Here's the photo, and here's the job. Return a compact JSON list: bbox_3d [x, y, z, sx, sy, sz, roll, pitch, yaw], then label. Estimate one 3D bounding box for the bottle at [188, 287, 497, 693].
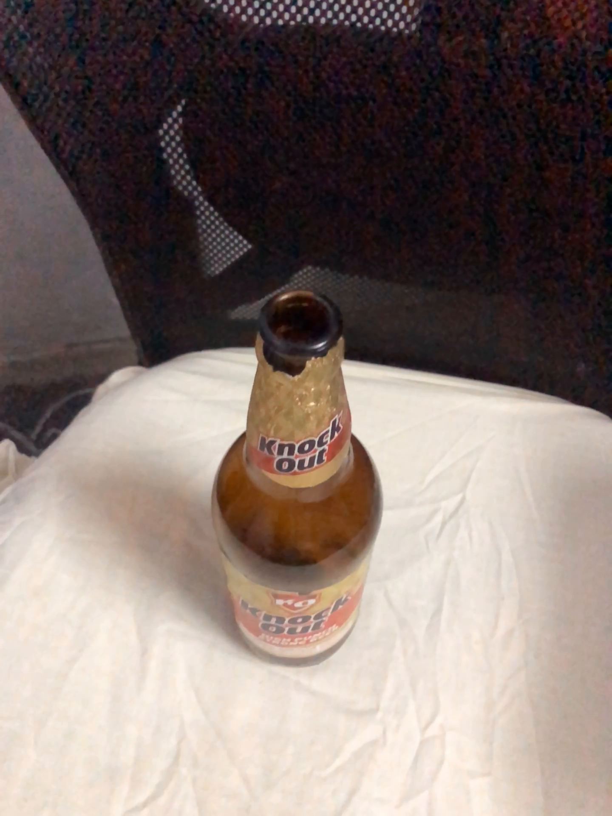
[{"bbox_3d":[0.002,0.060,0.298,0.080,0.249,0.070,-2,57,-5],"label":"bottle"}]
